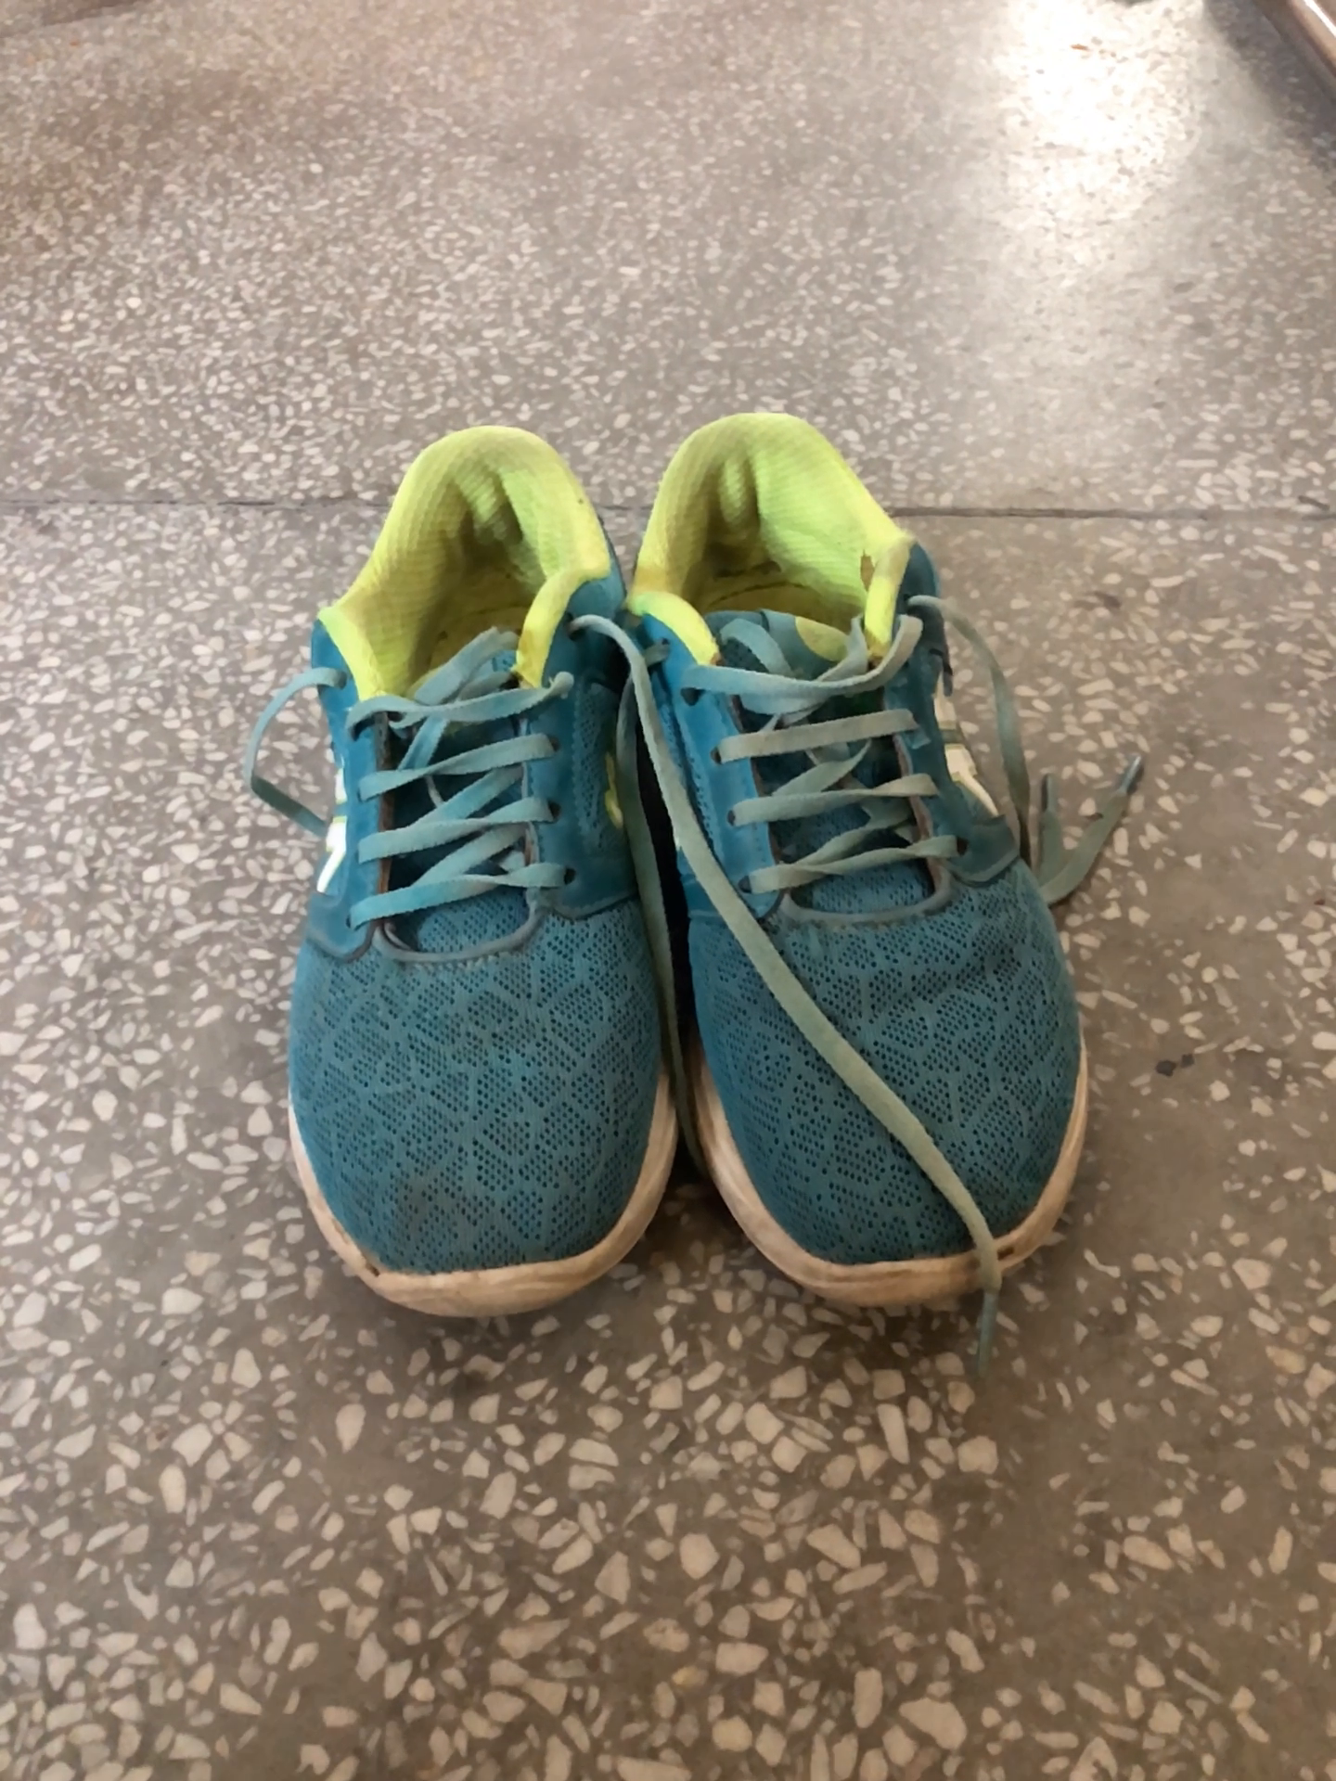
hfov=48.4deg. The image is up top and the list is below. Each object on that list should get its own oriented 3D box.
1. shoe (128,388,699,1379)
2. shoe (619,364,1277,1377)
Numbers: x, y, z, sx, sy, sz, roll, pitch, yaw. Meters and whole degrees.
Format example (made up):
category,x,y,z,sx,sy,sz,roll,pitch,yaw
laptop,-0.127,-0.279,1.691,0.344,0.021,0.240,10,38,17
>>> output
category,x,y,z,sx,sy,sz,roll,pitch,yaw
shoe,-0.047,-0.015,0.361,0.091,0.091,0.231,-5,49,2
shoe,0.047,-0.019,0.350,0.094,0.088,0.230,-7,49,1
